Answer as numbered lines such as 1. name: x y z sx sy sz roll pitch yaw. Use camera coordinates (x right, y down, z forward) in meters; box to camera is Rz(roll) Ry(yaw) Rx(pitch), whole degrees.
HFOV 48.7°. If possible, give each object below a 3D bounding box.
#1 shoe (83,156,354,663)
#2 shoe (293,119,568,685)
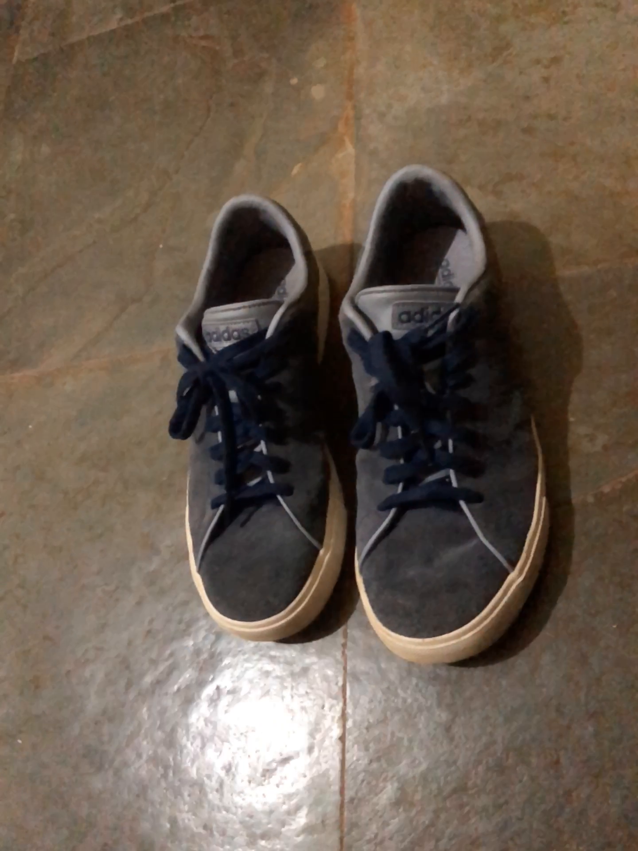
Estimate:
1. shoe: -0.045 -0.009 0.406 0.110 0.080 0.271 -8 65 20
2. shoe: 0.062 -0.015 0.378 0.110 0.080 0.281 -5 66 21
